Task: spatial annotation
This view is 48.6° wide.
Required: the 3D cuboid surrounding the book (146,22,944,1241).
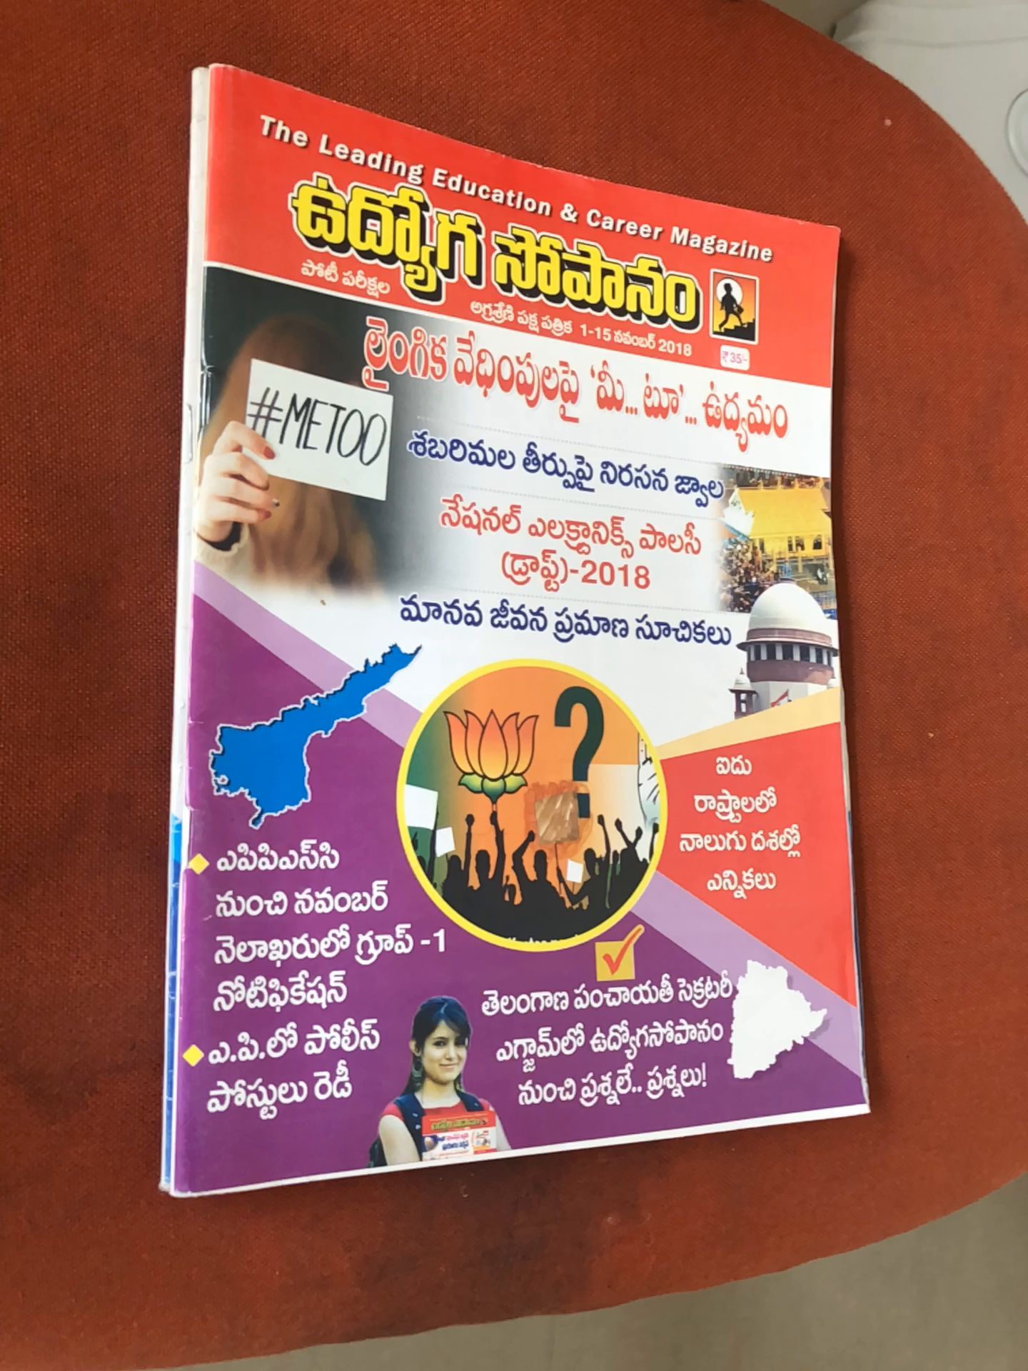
[{"bbox_3d":[0.017,-0.015,0.328,0.218,0.040,0.294,4,82,-21],"label":"book"}]
